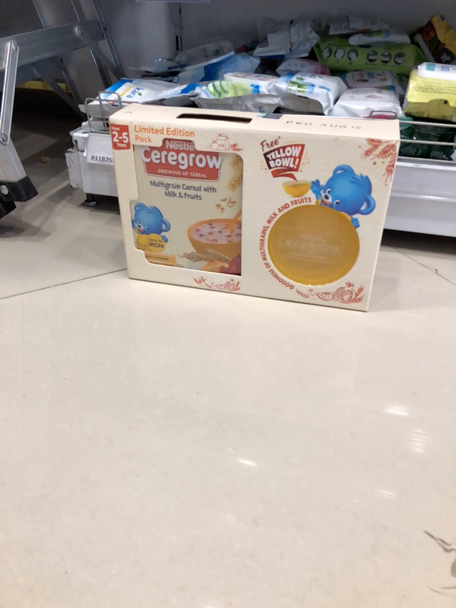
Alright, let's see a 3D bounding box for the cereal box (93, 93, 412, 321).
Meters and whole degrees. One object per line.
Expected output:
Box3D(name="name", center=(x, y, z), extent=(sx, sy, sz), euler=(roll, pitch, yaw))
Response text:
Box3D(name="cereal box", center=(0.022, -0.109, 0.561), extent=(0.310, 0.209, 0.071), euler=(9, 35, 12))
